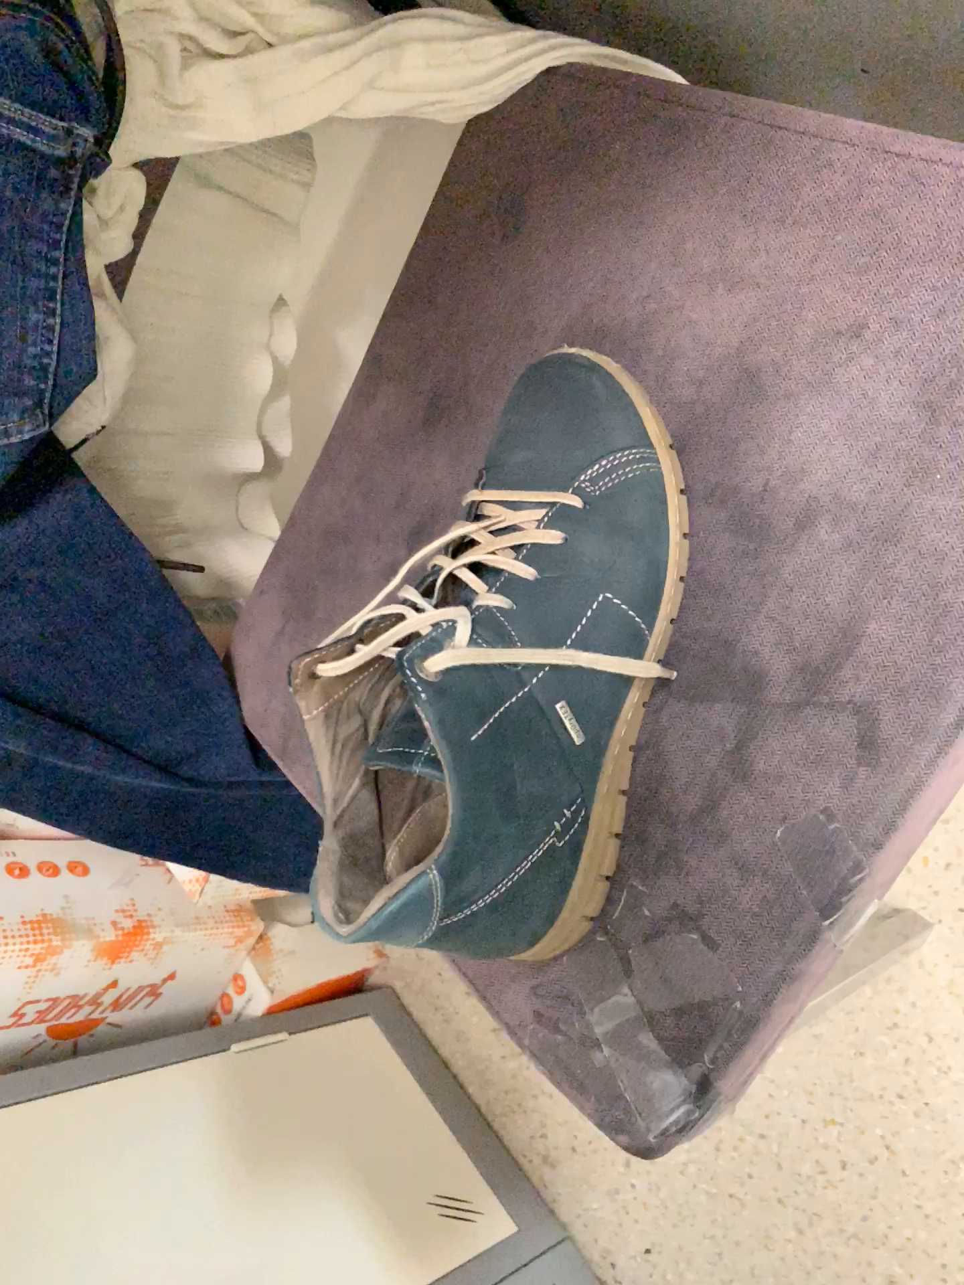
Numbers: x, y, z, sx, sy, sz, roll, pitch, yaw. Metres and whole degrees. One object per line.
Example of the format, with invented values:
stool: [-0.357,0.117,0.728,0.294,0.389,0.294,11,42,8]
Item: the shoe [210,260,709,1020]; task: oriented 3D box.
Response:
shoe: [-0.002,0.001,0.402,0.104,0.142,0.244,6,87,39]
